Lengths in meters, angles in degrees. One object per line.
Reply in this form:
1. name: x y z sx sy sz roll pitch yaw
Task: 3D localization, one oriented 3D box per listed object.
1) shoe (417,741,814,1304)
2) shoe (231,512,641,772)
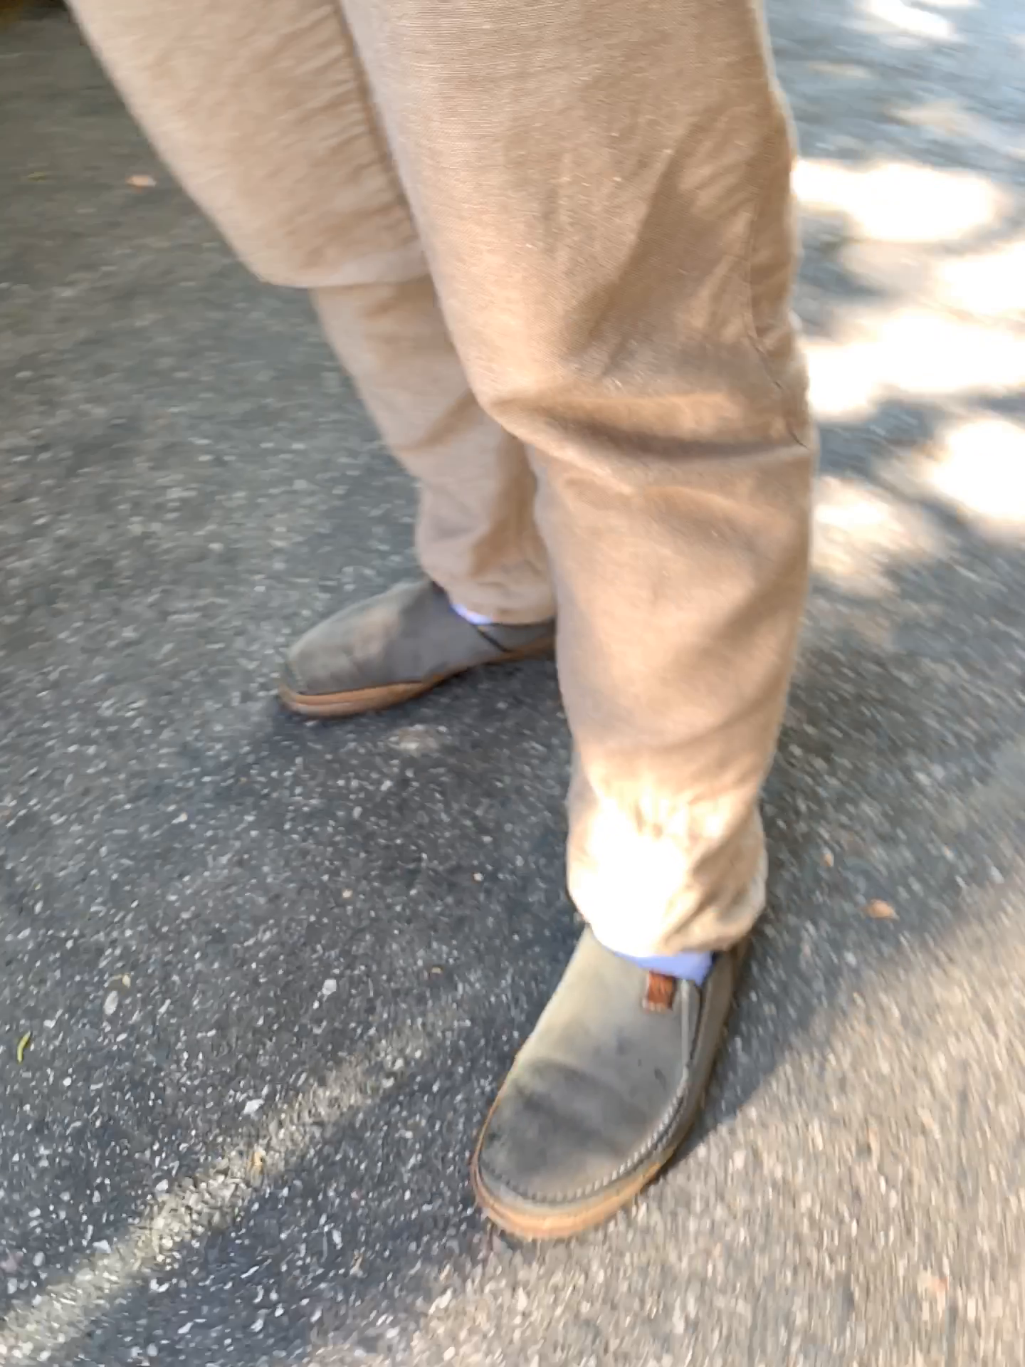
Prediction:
1. shoe: 0.079 0.196 0.680 0.120 0.080 0.321 19 53 22
2. shoe: -0.063 -0.041 0.897 0.320 0.060 0.121 -19 49 -10
